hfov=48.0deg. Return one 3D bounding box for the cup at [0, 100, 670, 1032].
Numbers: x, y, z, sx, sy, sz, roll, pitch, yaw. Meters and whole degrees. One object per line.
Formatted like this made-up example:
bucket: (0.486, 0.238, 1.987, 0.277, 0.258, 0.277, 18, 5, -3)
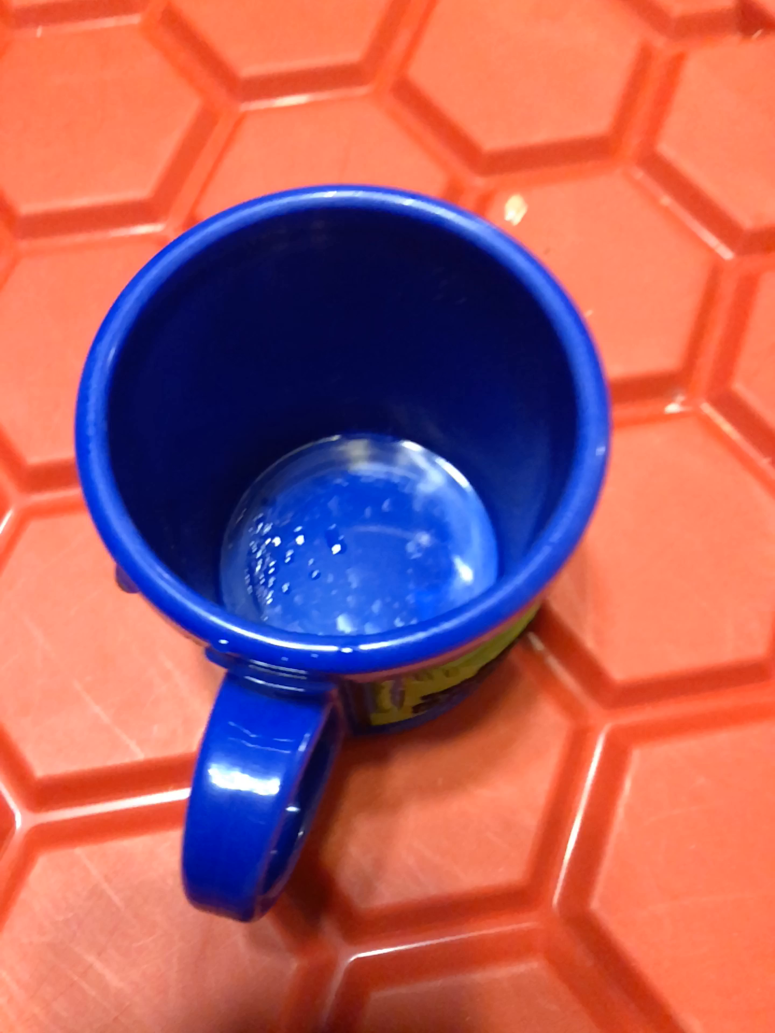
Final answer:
cup: (-0.013, 0.012, 0.170, 0.090, 0.100, 0.120, 14, 71, 5)
